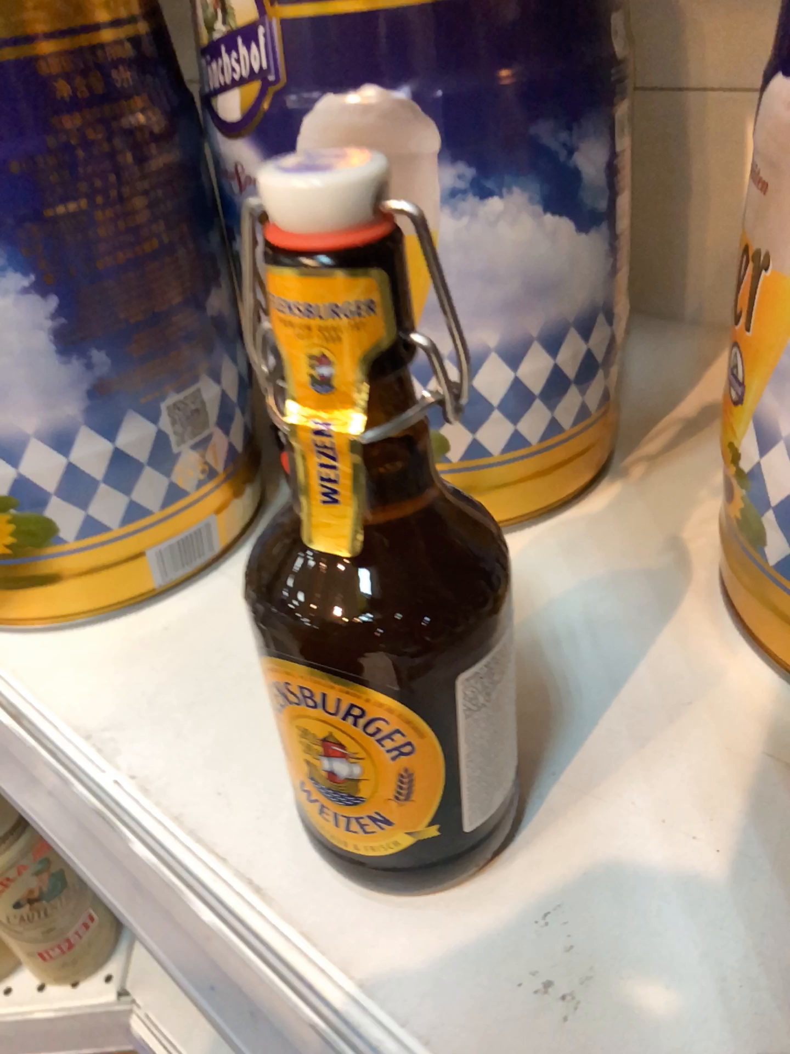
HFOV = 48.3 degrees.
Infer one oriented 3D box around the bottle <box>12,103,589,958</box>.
[{"bbox_3d":[-0.005,0.005,0.223,0.080,0.189,0.080,-6,35,4],"label":"bottle"}]
